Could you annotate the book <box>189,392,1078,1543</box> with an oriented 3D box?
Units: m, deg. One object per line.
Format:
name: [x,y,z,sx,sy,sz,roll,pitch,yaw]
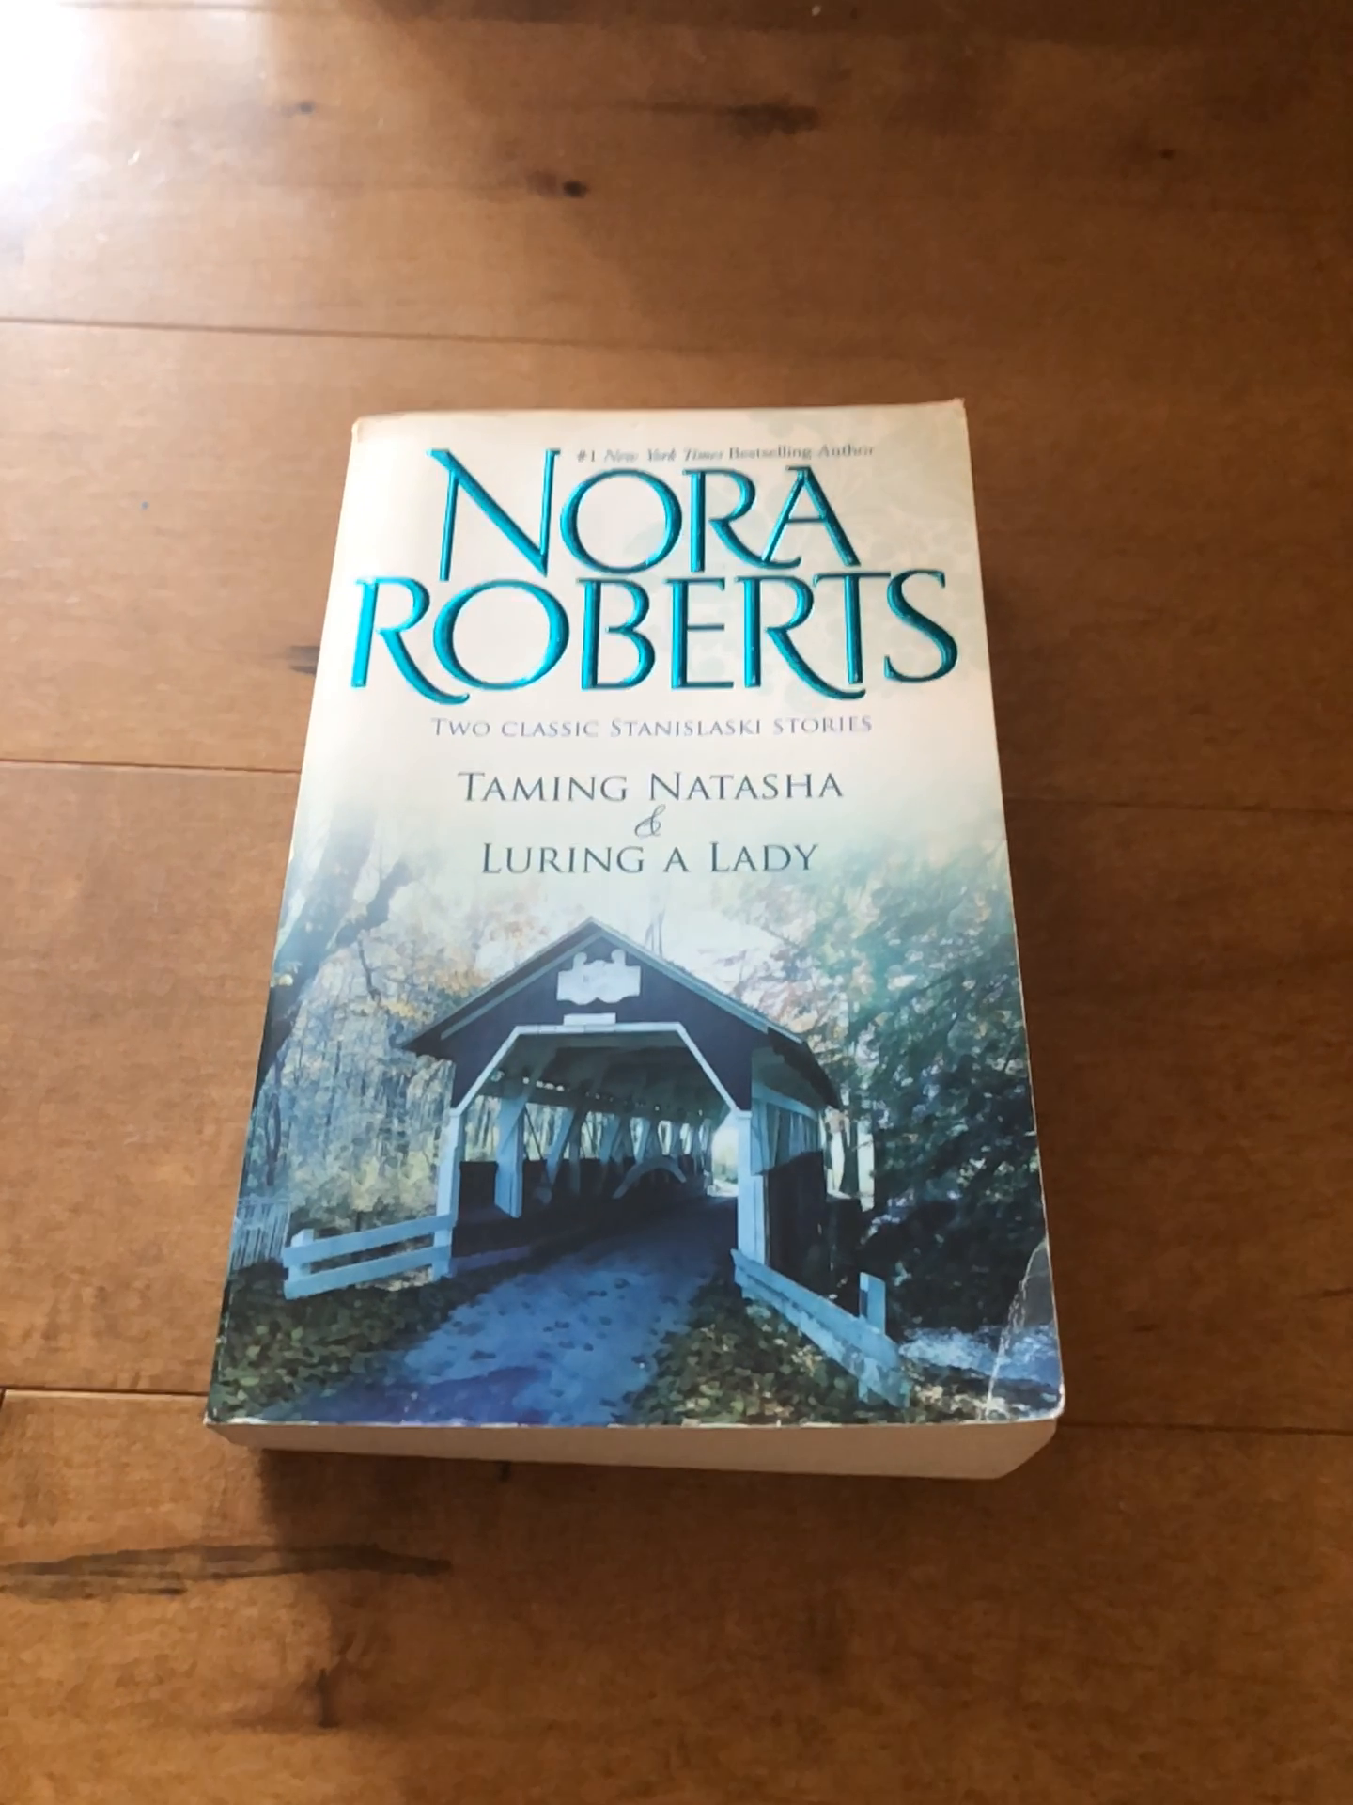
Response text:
book: [-0.005,0.000,0.286,0.130,0.040,0.221,1,63,-1]
